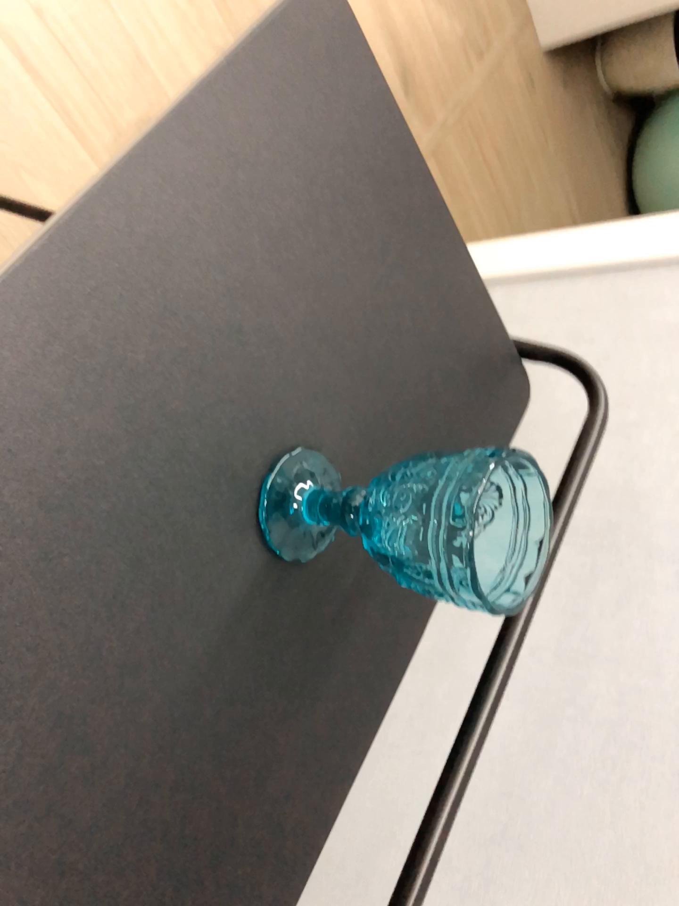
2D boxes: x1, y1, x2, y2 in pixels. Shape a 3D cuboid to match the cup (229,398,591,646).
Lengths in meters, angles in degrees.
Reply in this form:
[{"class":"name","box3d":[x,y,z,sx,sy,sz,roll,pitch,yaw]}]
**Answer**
[{"class":"cup","box3d":[0.039,0.032,0.433,0.095,0.164,0.085,55,54,-36]}]
